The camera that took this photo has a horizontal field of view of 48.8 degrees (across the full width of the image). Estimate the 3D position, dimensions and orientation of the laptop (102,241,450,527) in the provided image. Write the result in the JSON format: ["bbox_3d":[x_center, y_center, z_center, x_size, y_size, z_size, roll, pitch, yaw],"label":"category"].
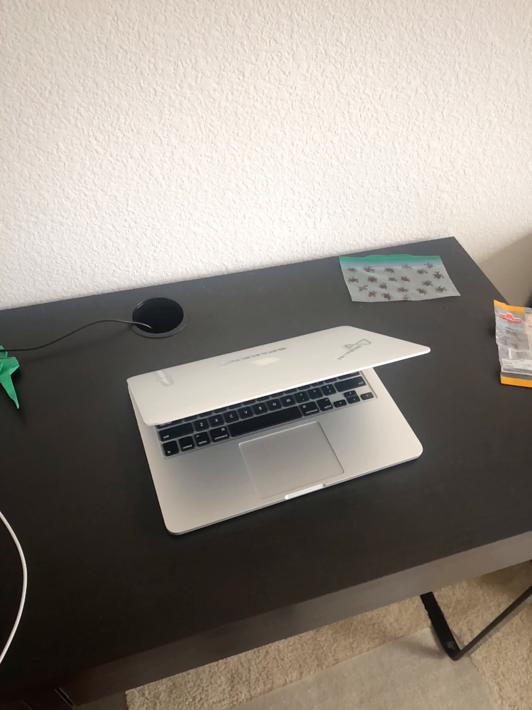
[{"bbox_3d":[-0.001,0.018,0.665,0.309,0.133,0.225,-14,50,-15],"label":"laptop"}]
